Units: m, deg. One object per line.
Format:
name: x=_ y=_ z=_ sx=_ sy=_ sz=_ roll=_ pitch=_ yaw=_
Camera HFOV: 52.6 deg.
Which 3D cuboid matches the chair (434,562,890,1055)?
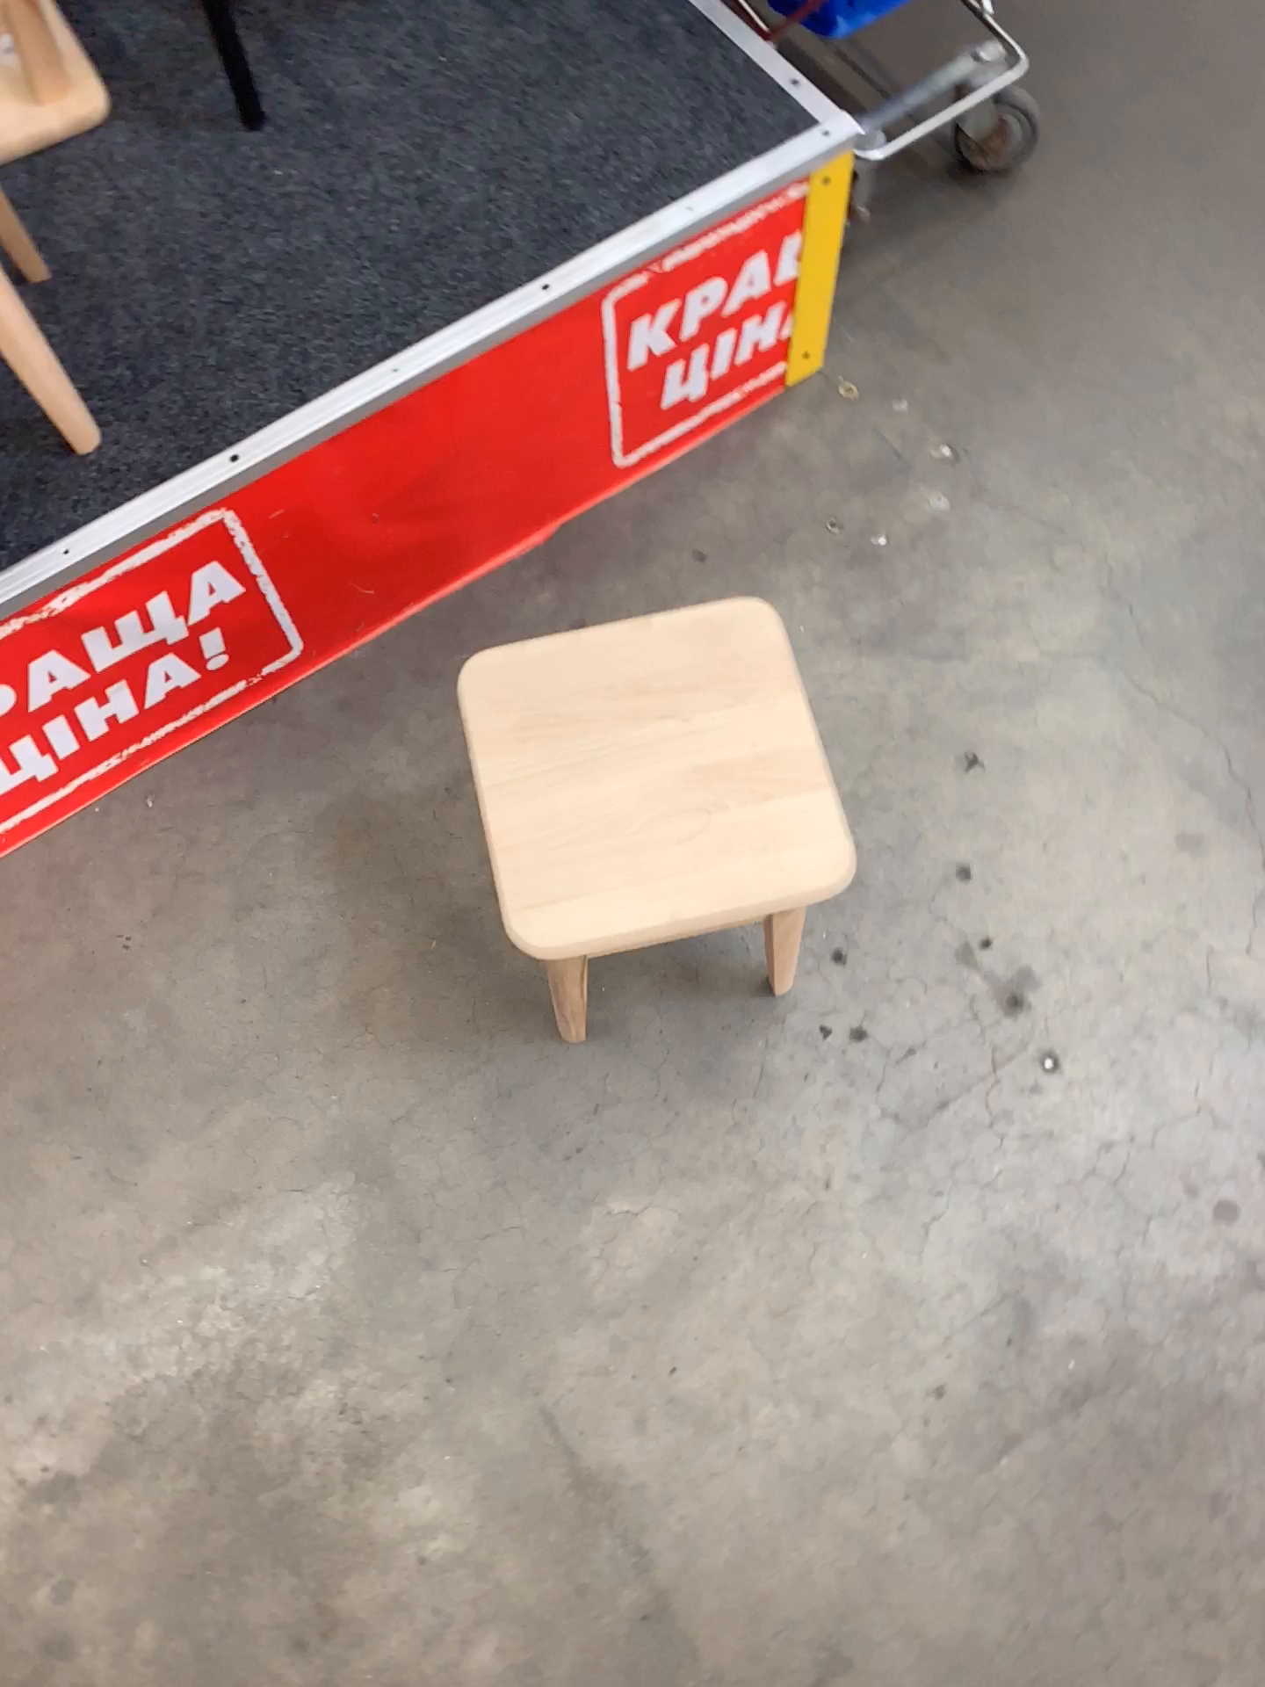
chair: x=0.016 y=-0.014 z=0.989 sx=0.260 sy=0.260 sz=0.250 roll=-12 pitch=68 yaw=-3
